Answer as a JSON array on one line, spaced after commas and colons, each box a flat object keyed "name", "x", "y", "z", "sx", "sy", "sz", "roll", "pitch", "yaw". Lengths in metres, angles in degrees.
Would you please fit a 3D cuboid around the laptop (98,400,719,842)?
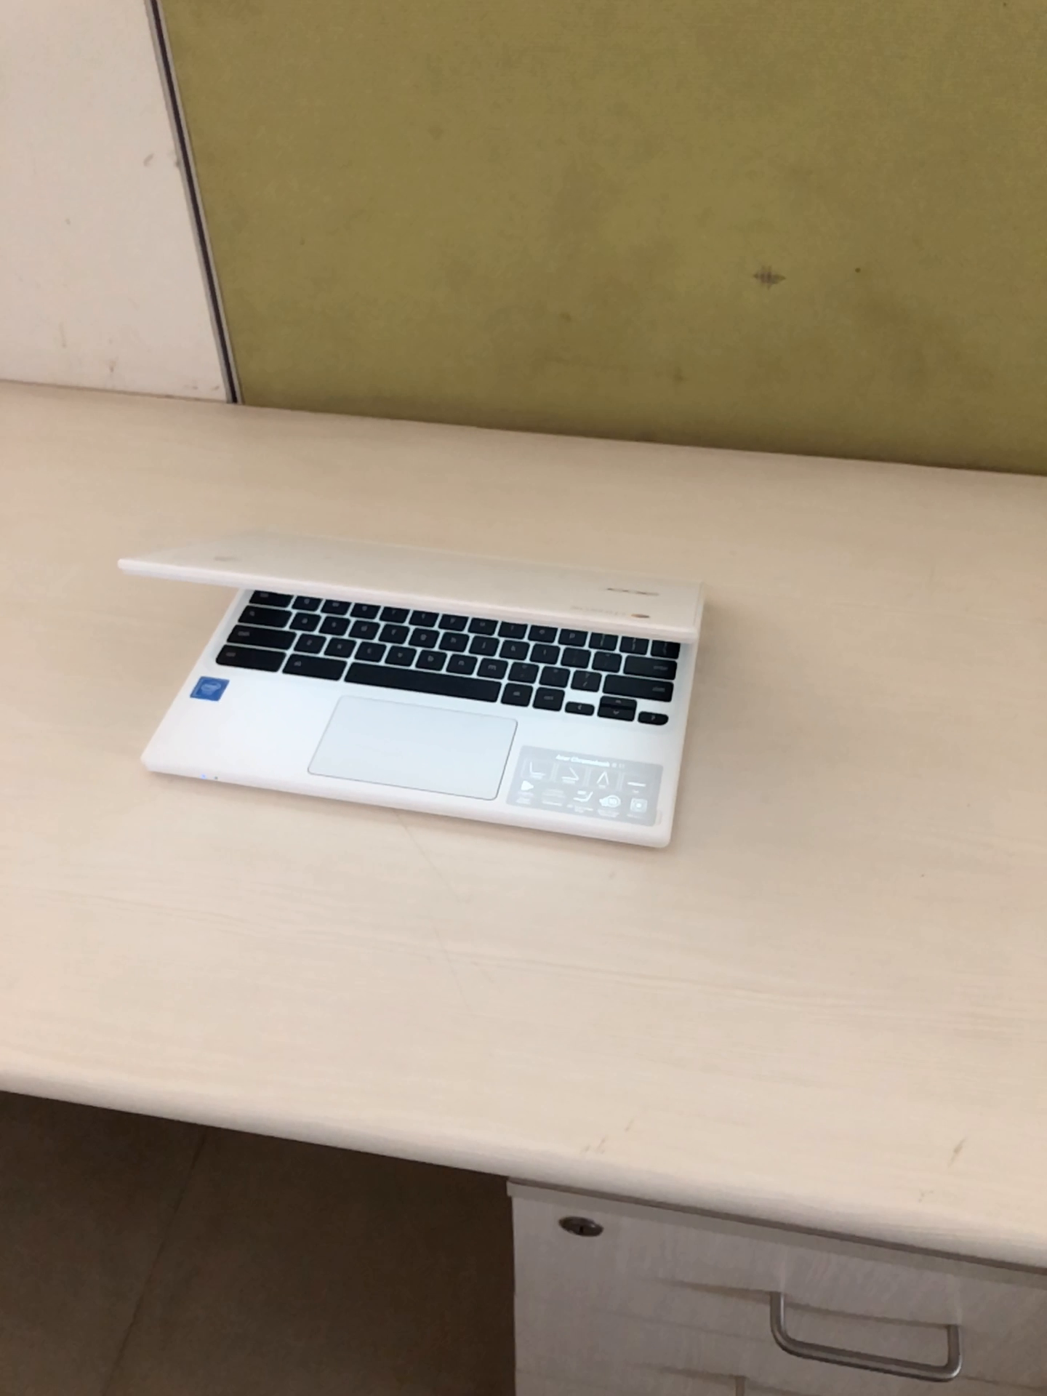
[{"name": "laptop", "x": -0.048, "y": -0.053, "z": 0.652, "sx": 0.289, "sy": 0.105, "sz": 0.197, "roll": 8, "pitch": 47, "yaw": 8}]
